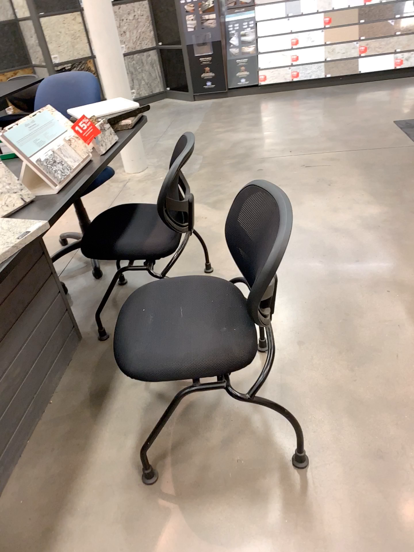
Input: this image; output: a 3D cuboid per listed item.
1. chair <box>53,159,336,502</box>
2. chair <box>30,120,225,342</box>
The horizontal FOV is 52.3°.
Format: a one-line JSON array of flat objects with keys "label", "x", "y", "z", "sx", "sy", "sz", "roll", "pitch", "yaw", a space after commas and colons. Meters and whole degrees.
[{"label": "chair", "x": -0.009, "y": 0.151, "z": 1.336, "sx": 0.594, "sy": 0.777, "sz": 0.607, "roll": -10, "pitch": 33, "yaw": -2}, {"label": "chair", "x": -0.268, "y": -0.201, "z": 1.927, "sx": 0.584, "sy": 0.777, "sz": 0.597, "roll": -3, "pitch": 34, "yaw": 9}]
